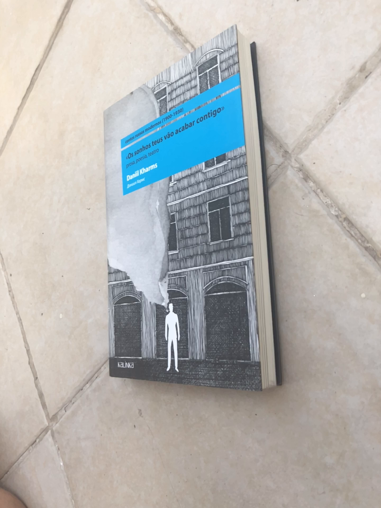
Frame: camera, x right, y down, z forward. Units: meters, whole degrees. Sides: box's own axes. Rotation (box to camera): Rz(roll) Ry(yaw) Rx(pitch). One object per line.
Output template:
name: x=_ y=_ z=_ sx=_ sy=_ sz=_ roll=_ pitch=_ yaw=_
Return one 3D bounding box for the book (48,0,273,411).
book: x=-0.026 y=-0.017 z=0.220 sx=0.121 sy=0.040 sz=0.170 roll=-11 pitch=77 yaw=43
